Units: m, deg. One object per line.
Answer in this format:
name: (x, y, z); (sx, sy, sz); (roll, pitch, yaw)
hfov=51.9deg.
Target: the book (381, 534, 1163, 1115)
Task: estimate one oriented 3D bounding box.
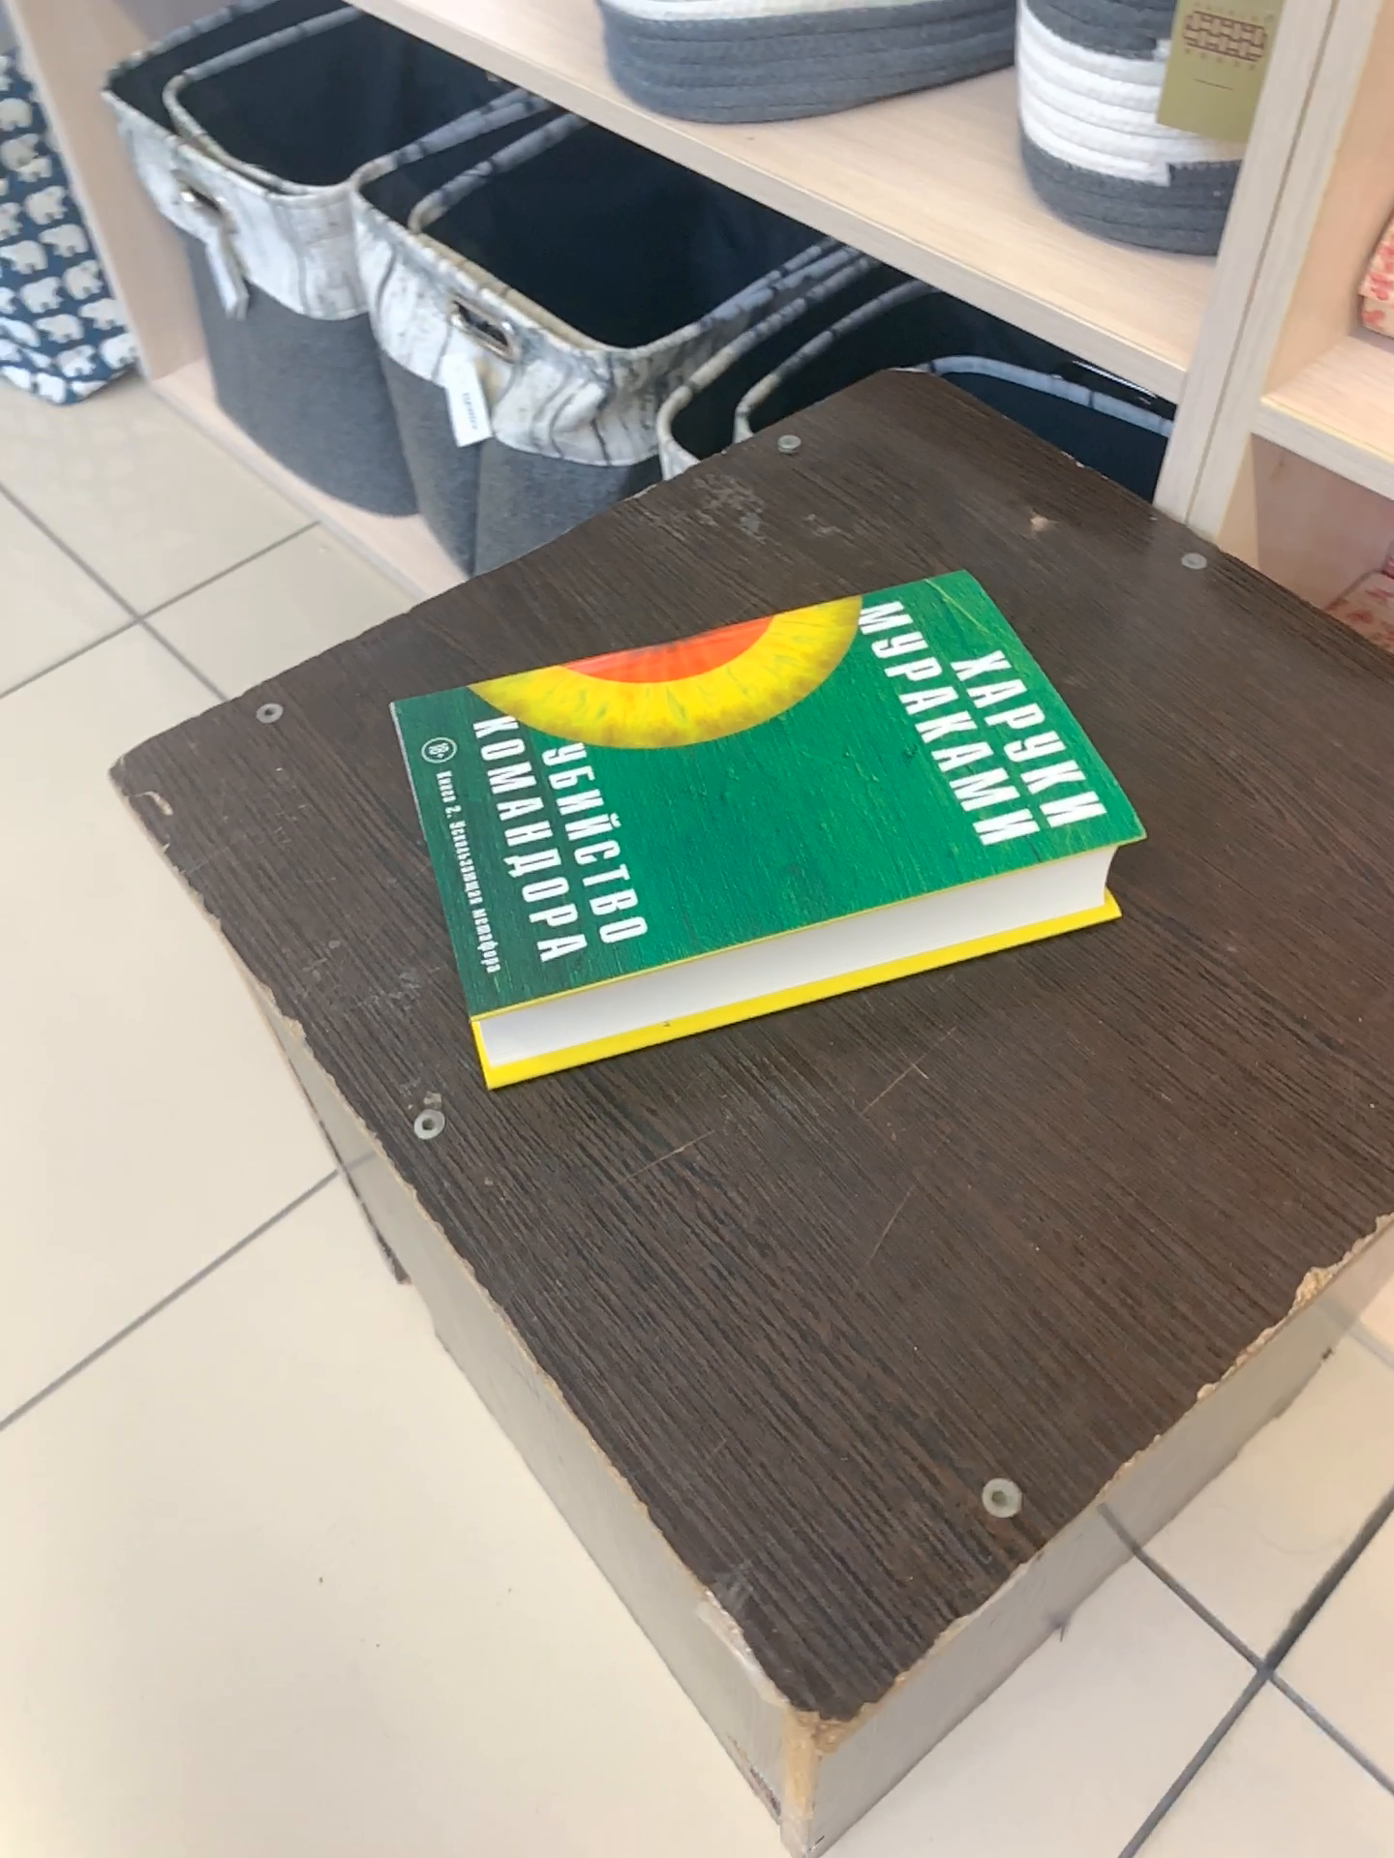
book: (0.017, -0.043, 0.482); (0.216, 0.050, 0.150); (-16, 54, -6)
